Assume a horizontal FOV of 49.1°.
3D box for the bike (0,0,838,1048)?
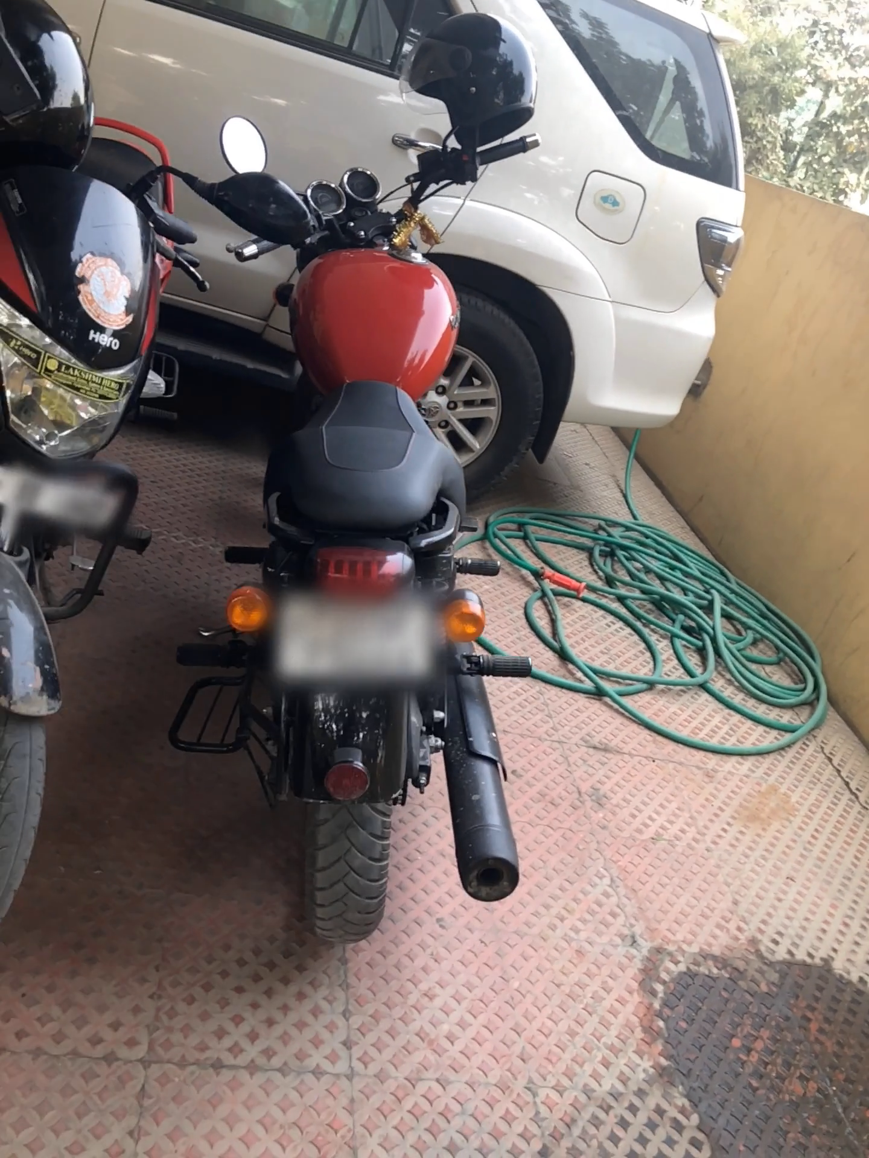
[{"bbox_3d":[-0.270,-0.293,1.917,0.820,1.271,1.721,13,27,-14],"label":"bike"}]
